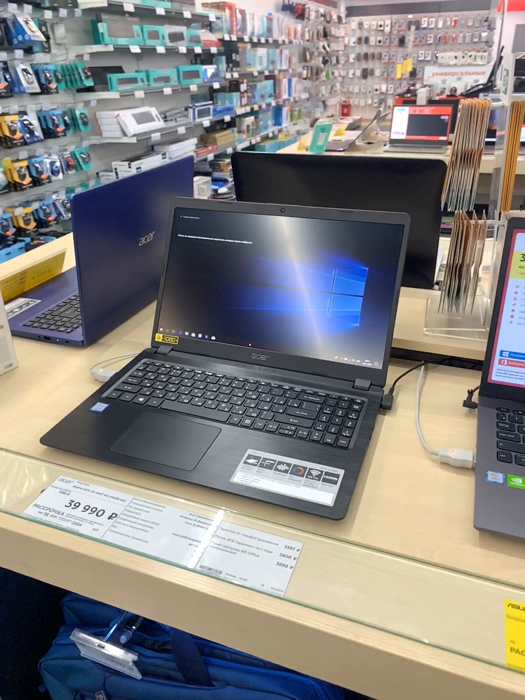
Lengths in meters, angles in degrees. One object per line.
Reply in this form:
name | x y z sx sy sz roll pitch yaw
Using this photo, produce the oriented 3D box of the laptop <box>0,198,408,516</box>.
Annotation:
laptop | -0.038 -0.037 0.703 0.376 0.216 0.377 9 29 18
